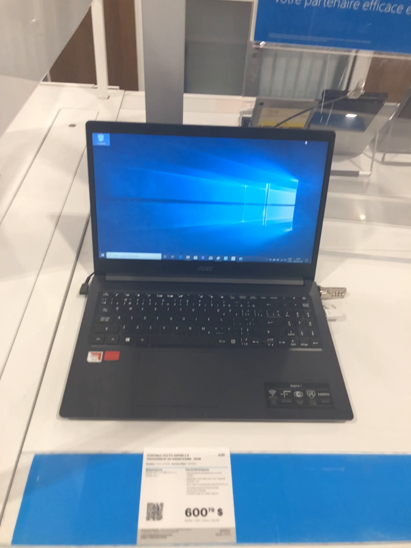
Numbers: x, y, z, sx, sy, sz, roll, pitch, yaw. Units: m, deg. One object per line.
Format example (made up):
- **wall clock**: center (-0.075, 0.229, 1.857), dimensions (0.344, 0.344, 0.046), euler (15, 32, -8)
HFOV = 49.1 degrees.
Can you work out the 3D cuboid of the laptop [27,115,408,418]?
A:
- **laptop**: center (0.006, -0.025, 0.625), dimensions (0.367, 0.212, 0.351), euler (2, 45, -3)
